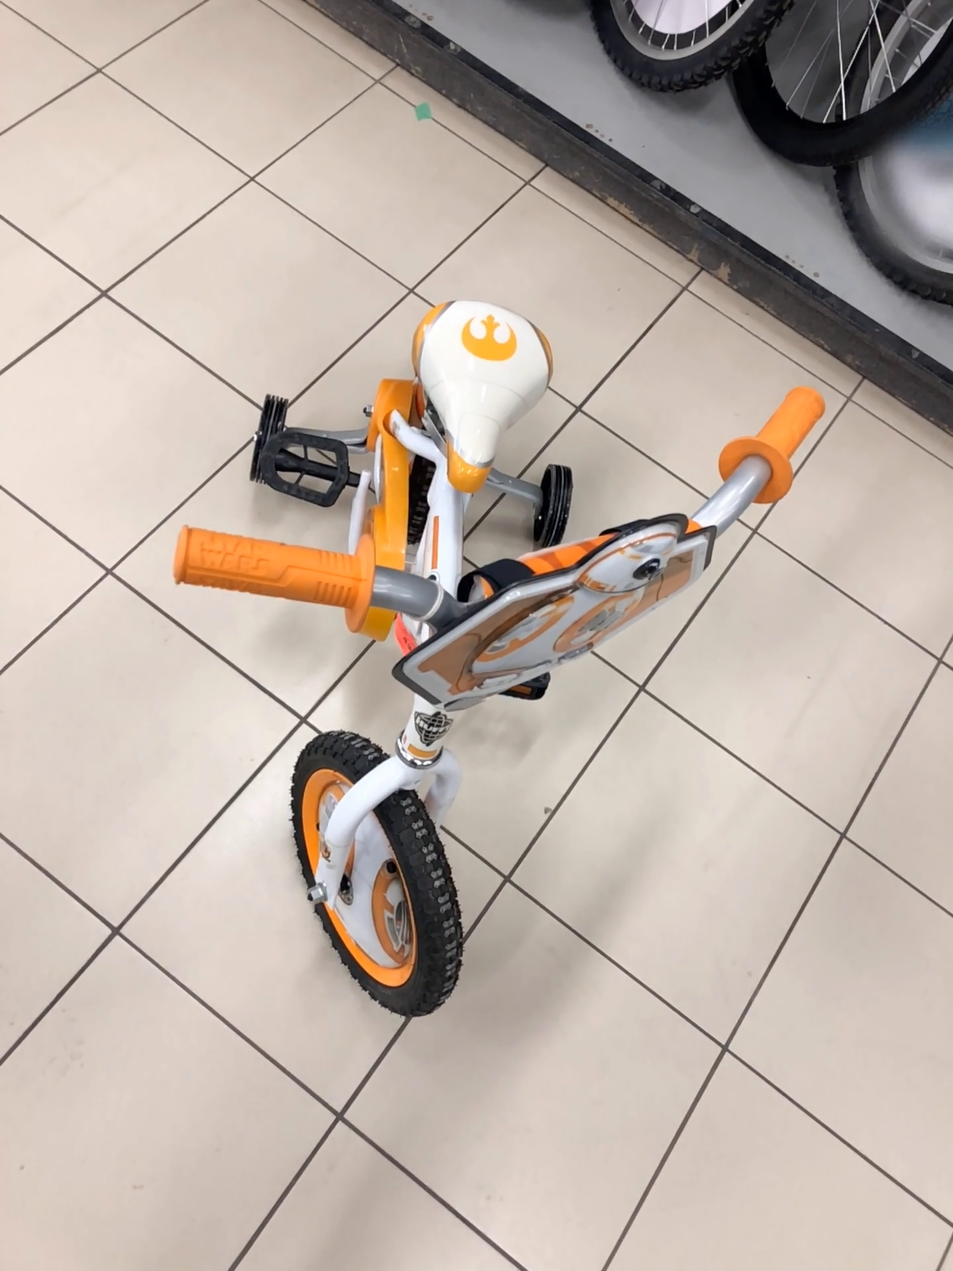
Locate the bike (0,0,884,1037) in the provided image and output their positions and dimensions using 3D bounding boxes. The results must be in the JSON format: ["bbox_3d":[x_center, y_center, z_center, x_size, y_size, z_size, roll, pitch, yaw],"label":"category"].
[{"bbox_3d":[-0.055,-0.106,0.973,0.435,0.715,0.816,3,67,-9],"label":"bike"}]
